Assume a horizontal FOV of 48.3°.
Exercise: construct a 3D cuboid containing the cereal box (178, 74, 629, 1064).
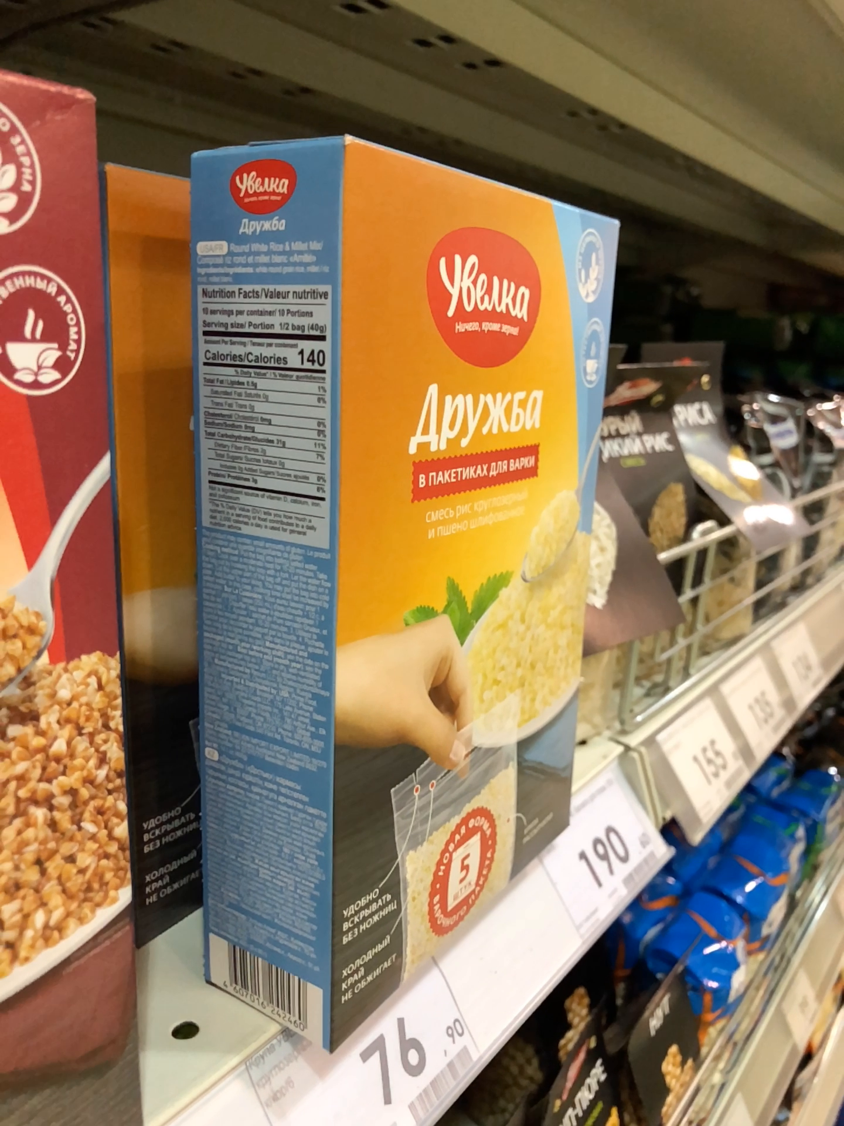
[{"bbox_3d":[0.002,-0.003,0.240,0.040,0.189,0.130,10,15,31],"label":"cereal box"}]
